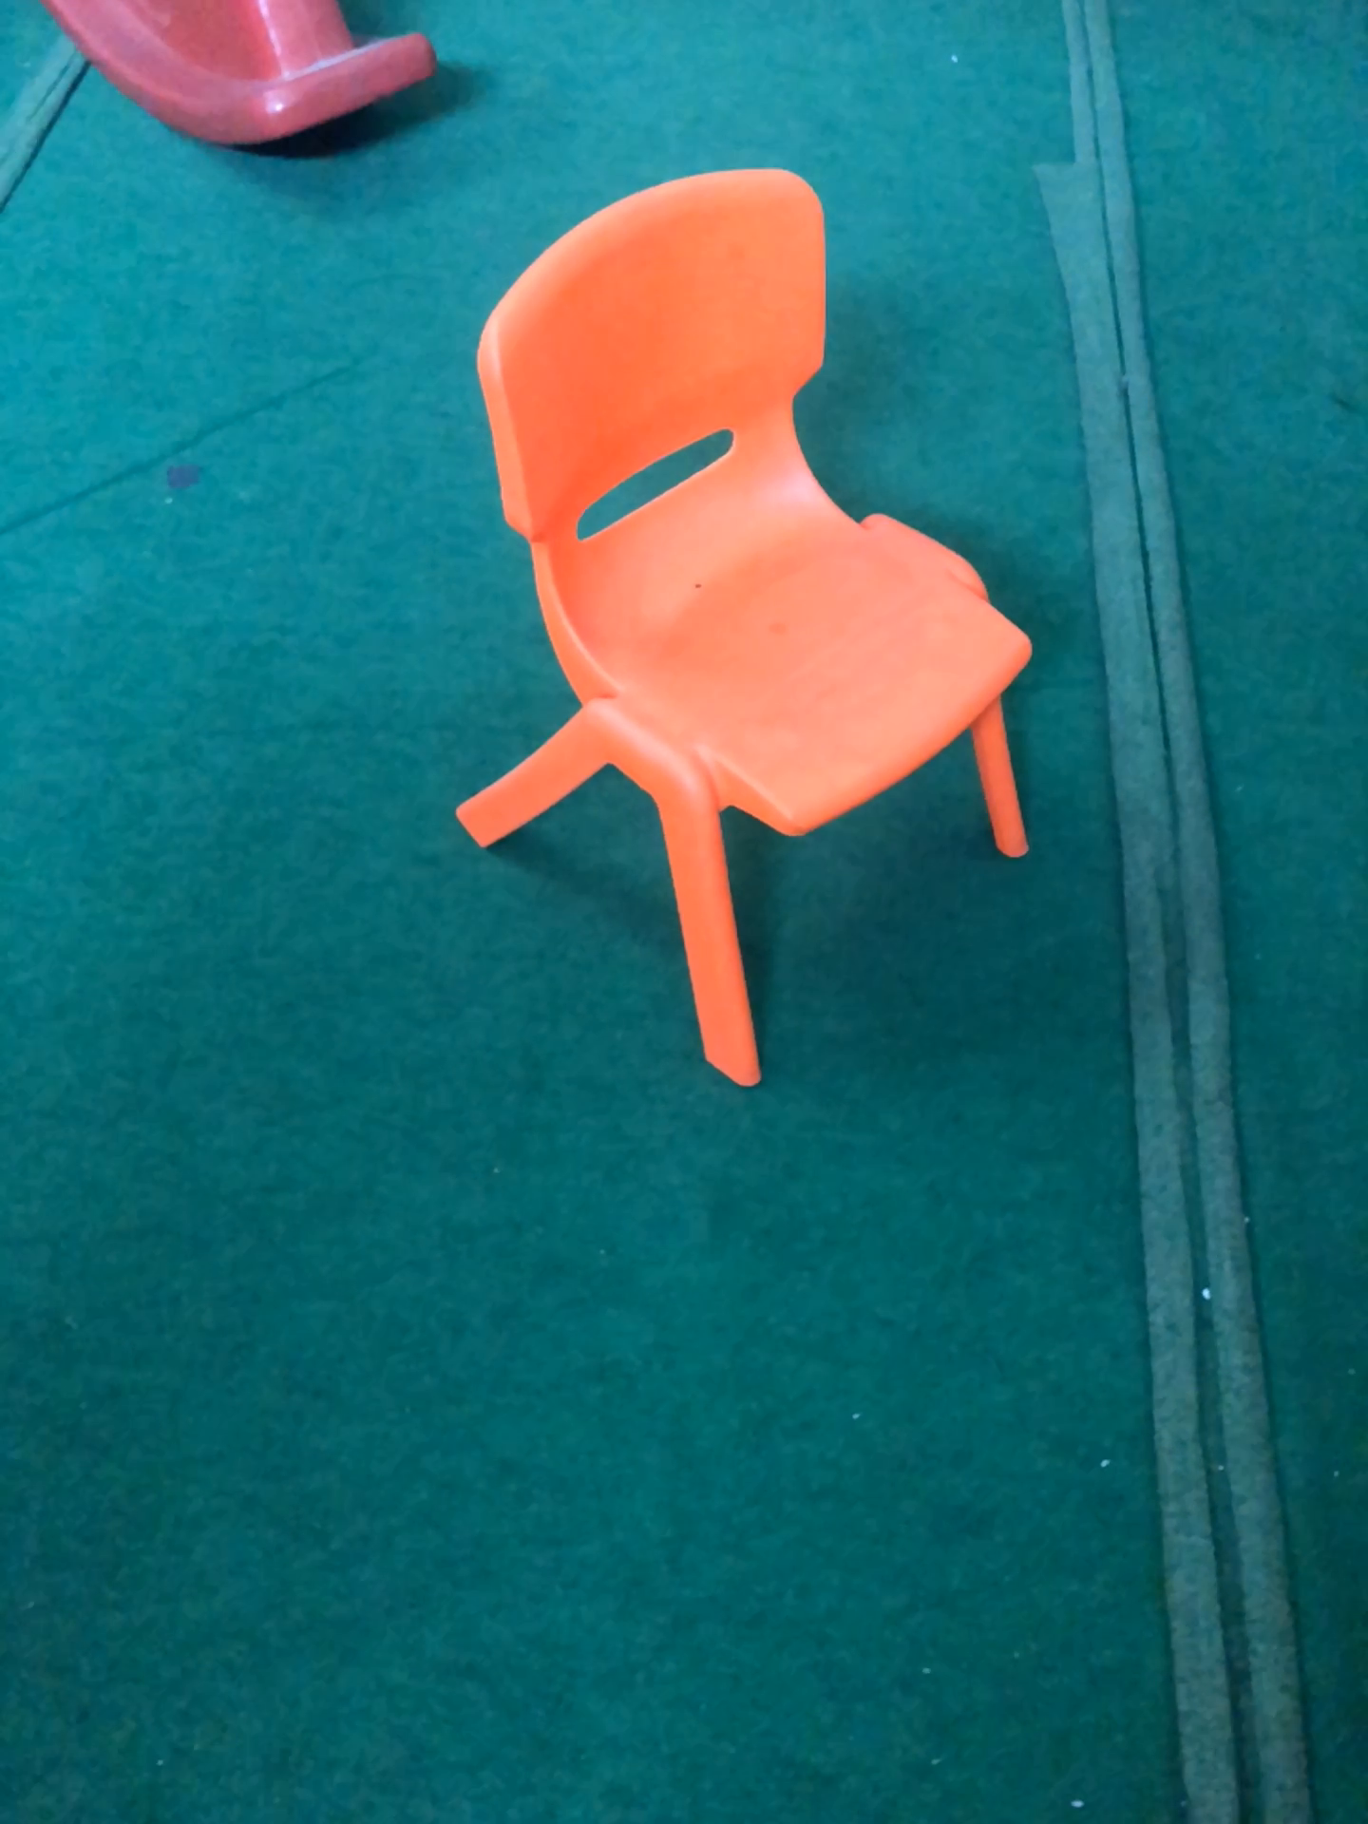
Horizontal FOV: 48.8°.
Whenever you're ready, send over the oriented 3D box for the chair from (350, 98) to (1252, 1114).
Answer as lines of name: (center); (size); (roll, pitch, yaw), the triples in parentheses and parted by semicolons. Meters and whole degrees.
chair: (0.058, -0.206, 1.078); (0.360, 0.479, 0.391); (-37, 64, -26)
